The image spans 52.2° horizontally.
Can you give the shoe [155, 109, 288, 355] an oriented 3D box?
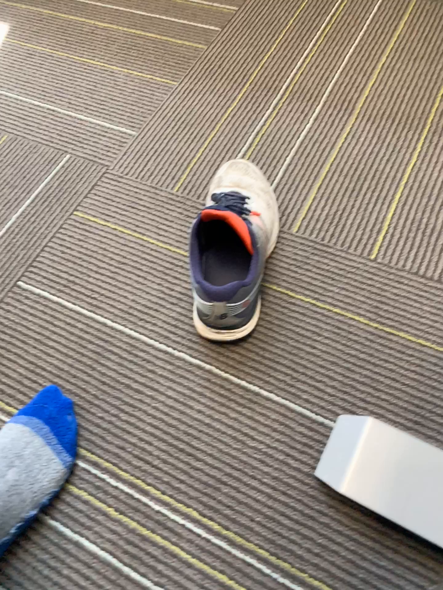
[{"bbox_3d":[0.015,-0.089,0.581,0.110,0.110,0.301,6,62,10],"label":"shoe"}]
